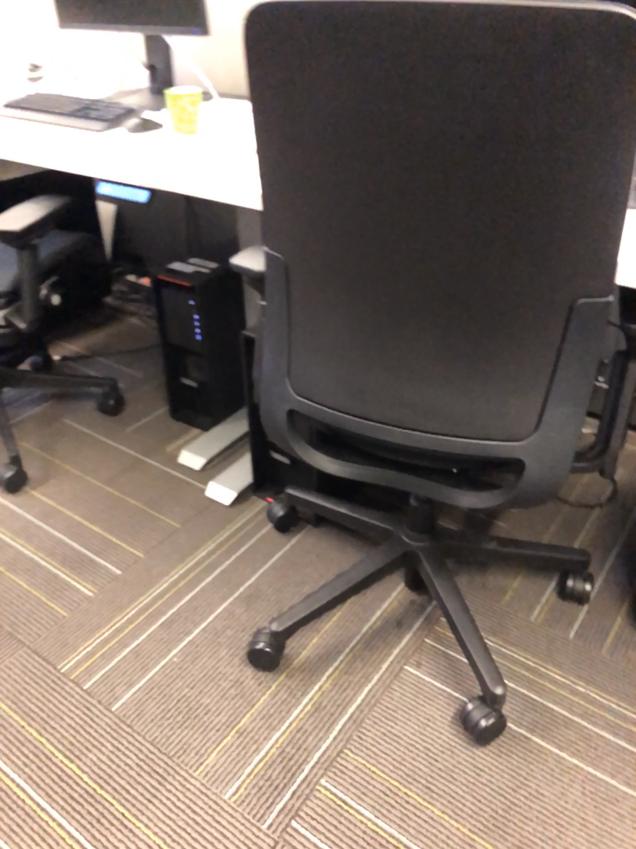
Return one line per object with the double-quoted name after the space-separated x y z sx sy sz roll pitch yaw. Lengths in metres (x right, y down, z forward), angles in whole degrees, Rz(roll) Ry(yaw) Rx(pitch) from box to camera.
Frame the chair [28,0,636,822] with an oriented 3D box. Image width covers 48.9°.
0.174 -0.110 1.166 0.711 1.044 0.724 14 36 22 "chair"
